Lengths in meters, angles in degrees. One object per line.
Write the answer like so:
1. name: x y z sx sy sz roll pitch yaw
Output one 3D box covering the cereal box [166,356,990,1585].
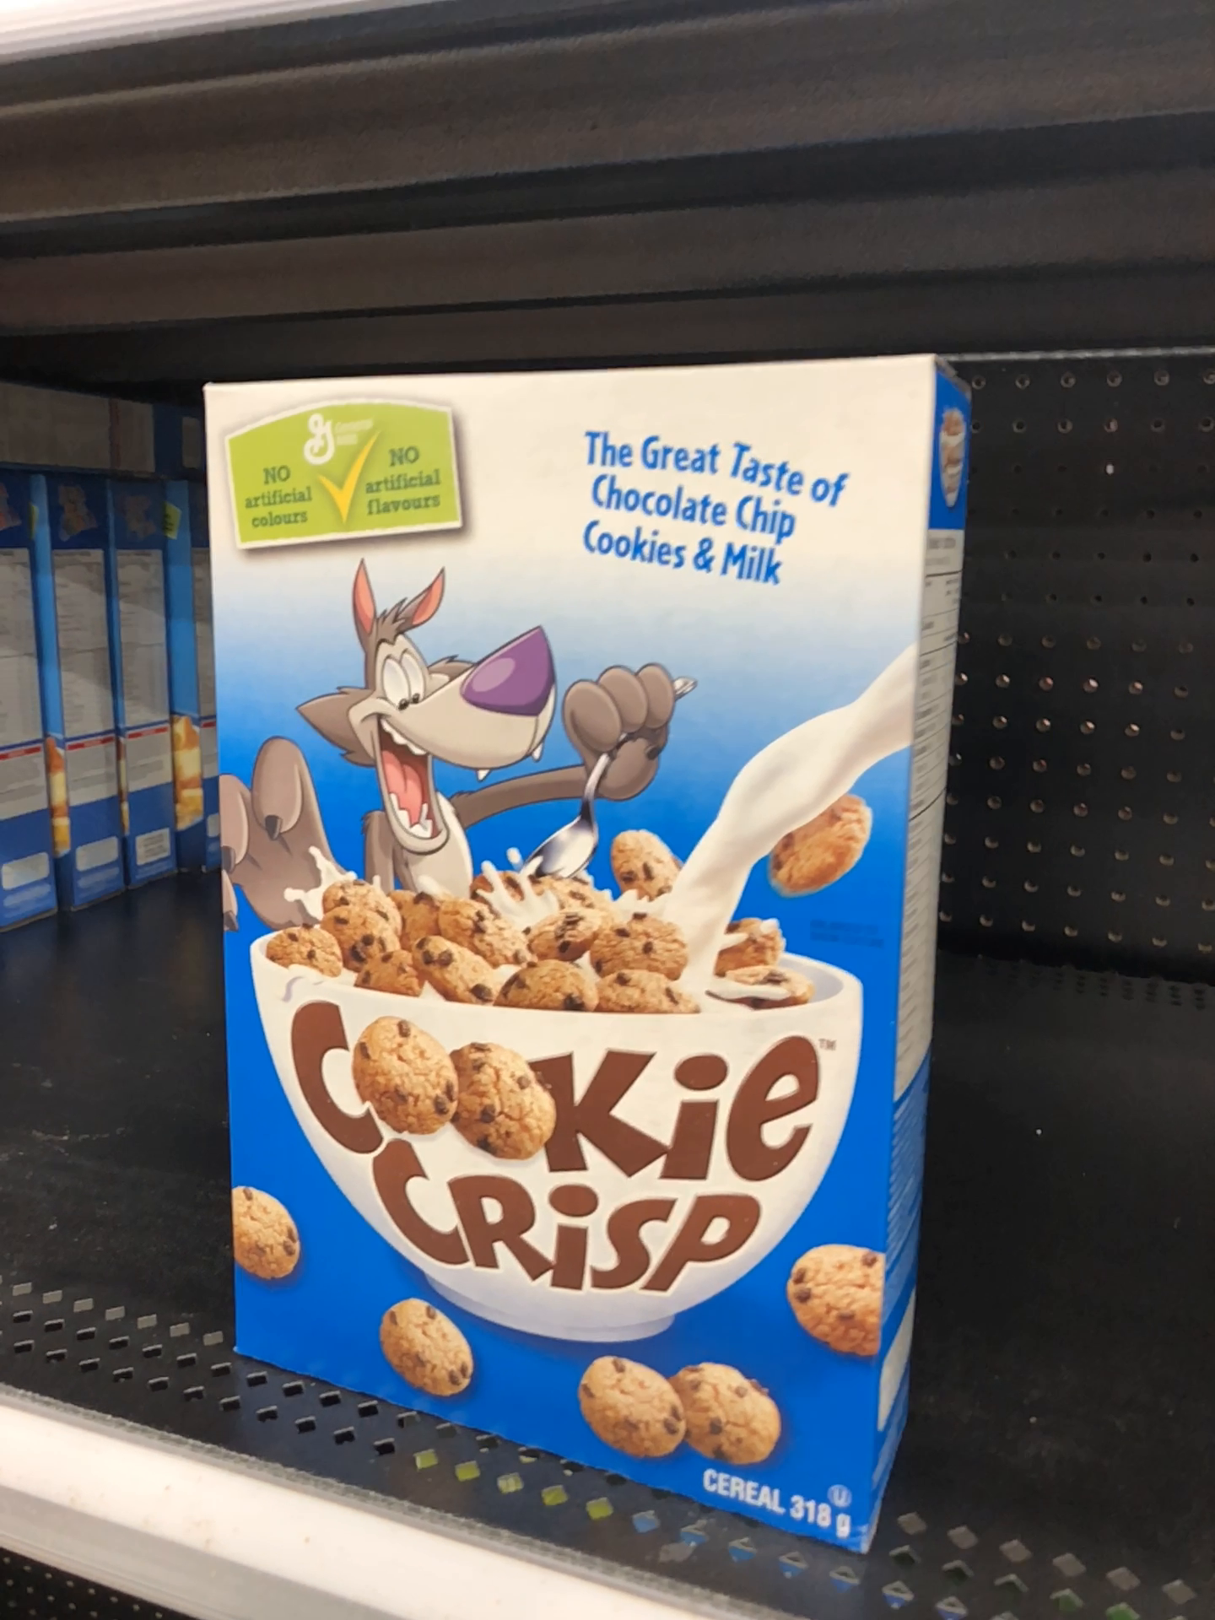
1. cereal box: -0.013 0.032 0.360 0.200 0.279 0.060 5 11 24
